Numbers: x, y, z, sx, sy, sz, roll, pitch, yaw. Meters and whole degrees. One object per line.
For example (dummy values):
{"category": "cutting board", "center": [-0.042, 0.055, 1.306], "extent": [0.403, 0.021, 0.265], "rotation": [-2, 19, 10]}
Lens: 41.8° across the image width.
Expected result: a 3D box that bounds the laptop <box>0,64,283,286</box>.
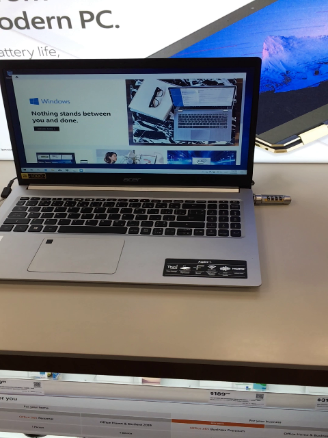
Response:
{"category": "laptop", "center": [-0.068, -0.077, 0.605], "extent": [0.404, 0.201, 0.289], "rotation": [2, 39, 4]}
